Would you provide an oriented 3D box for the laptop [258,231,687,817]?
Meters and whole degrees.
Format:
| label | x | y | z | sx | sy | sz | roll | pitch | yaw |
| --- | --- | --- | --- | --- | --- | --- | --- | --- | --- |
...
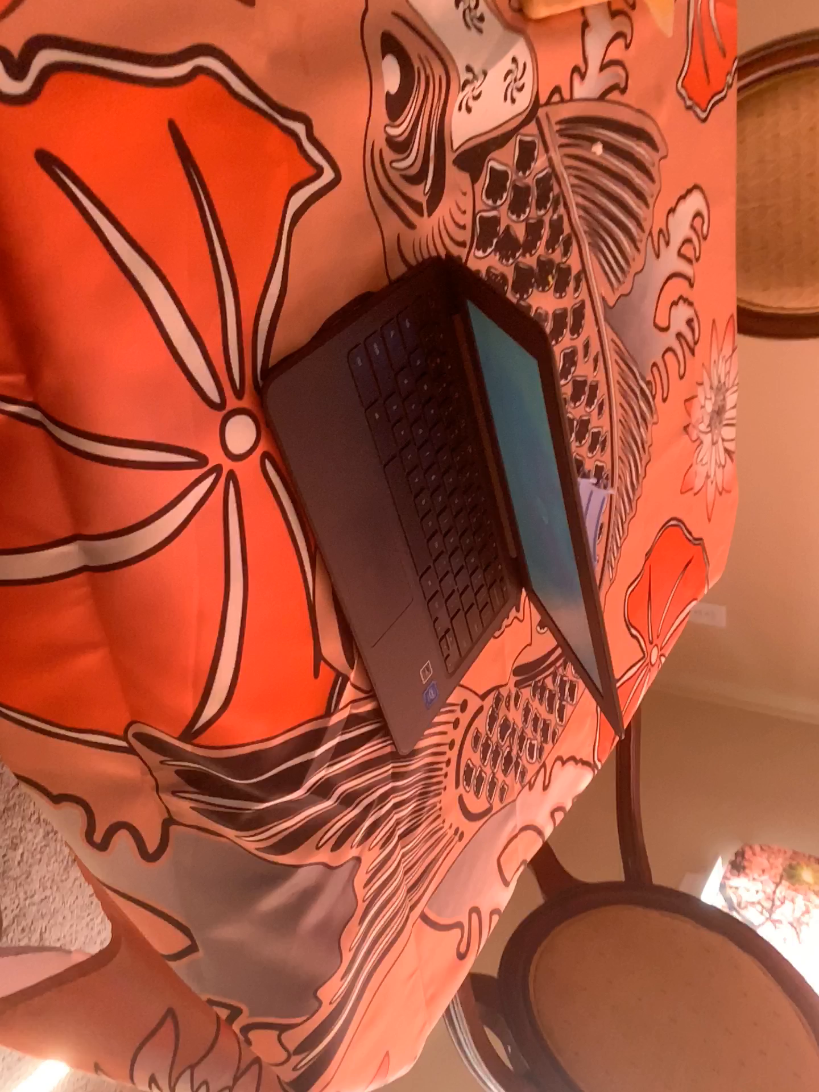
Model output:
| label | x | y | z | sx | sy | sz | roll | pitch | yaw |
| --- | --- | --- | --- | --- | --- | --- | --- | --- | --- |
| laptop | 0.070 | -0.017 | 0.560 | 0.212 | 0.144 | 0.299 | -49 | 134 | -40 |
